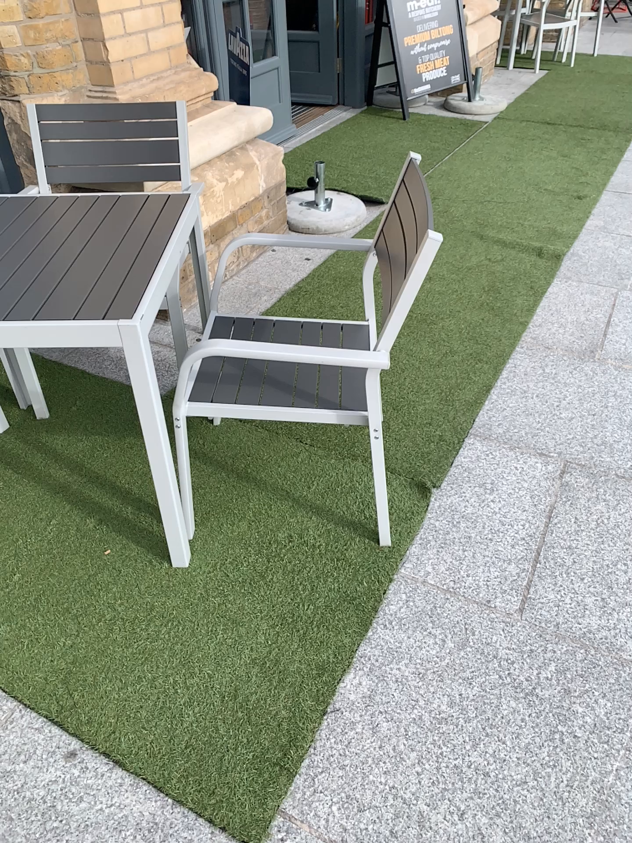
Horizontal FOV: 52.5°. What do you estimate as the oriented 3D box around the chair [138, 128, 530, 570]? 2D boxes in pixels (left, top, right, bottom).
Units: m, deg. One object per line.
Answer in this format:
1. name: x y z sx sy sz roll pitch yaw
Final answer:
1. chair: 0.035 -0.184 1.570 0.645 0.801 0.688 -3 39 0
